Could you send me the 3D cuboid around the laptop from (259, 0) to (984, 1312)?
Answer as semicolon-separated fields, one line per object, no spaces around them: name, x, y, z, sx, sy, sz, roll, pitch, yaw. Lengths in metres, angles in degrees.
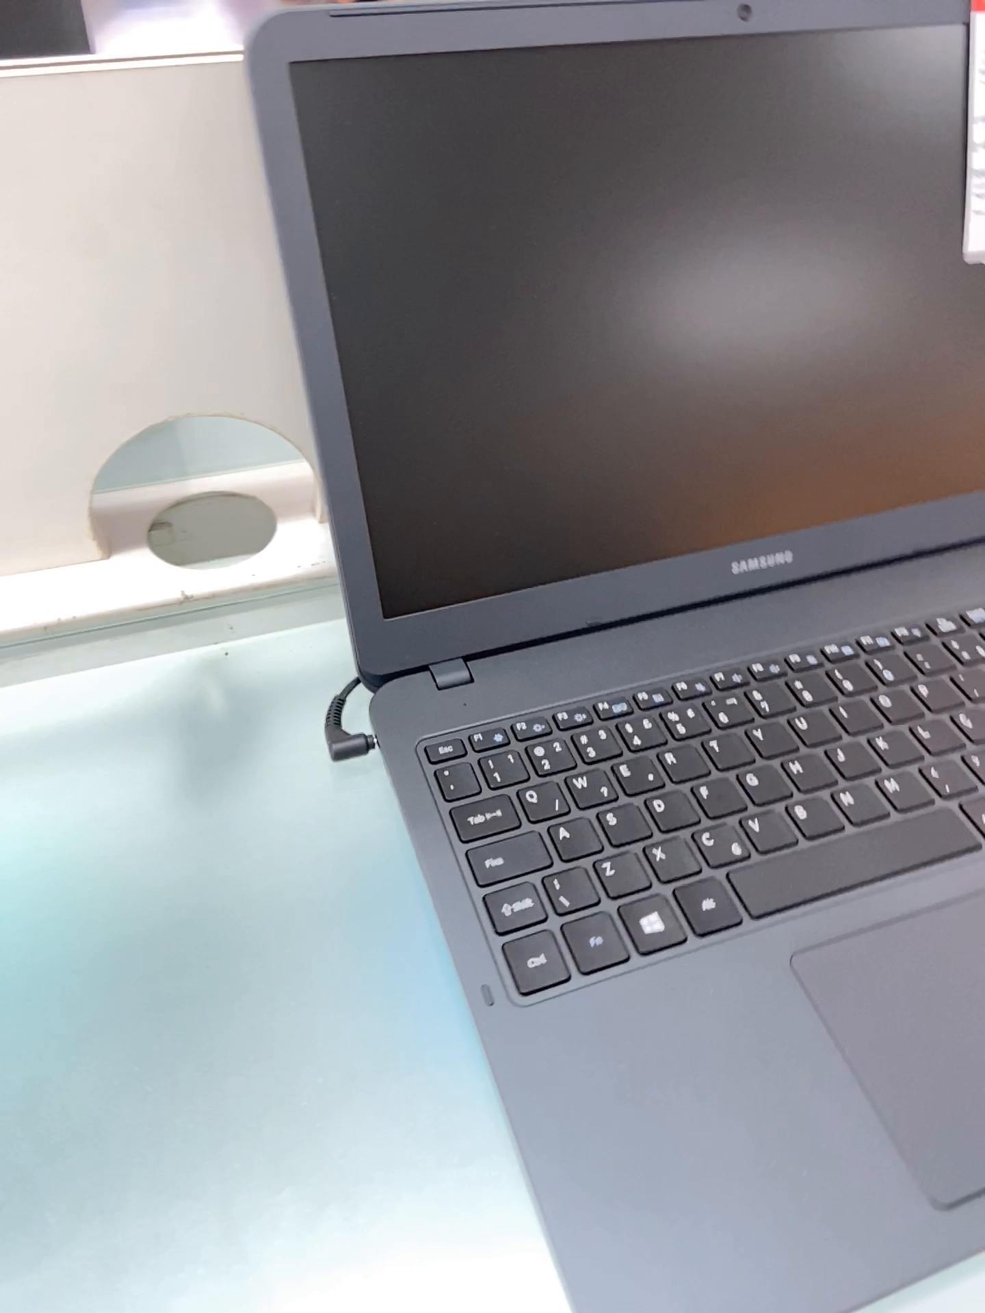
laptop;0.152;-0.054;0.327;0.363;0.208;0.343;-13;46;-15
